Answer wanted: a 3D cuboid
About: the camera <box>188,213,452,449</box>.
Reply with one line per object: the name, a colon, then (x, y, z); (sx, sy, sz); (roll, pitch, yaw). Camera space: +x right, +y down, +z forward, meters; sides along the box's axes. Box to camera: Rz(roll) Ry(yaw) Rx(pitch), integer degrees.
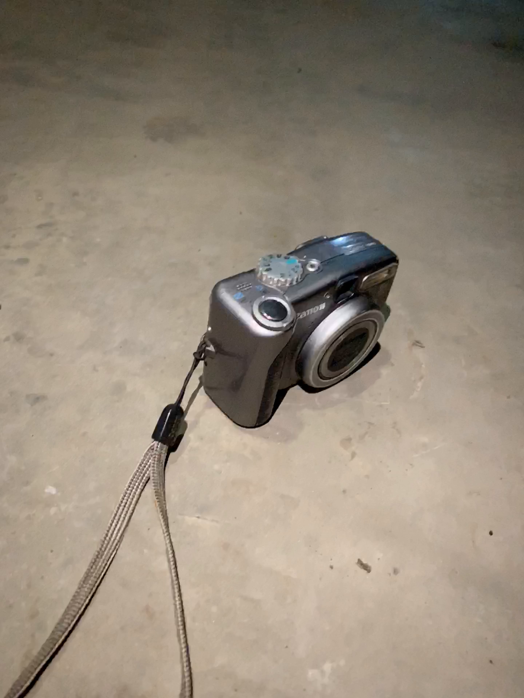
camera: (0.026, -0.013, 0.251); (0.109, 0.059, 0.048); (-25, 54, -33)
